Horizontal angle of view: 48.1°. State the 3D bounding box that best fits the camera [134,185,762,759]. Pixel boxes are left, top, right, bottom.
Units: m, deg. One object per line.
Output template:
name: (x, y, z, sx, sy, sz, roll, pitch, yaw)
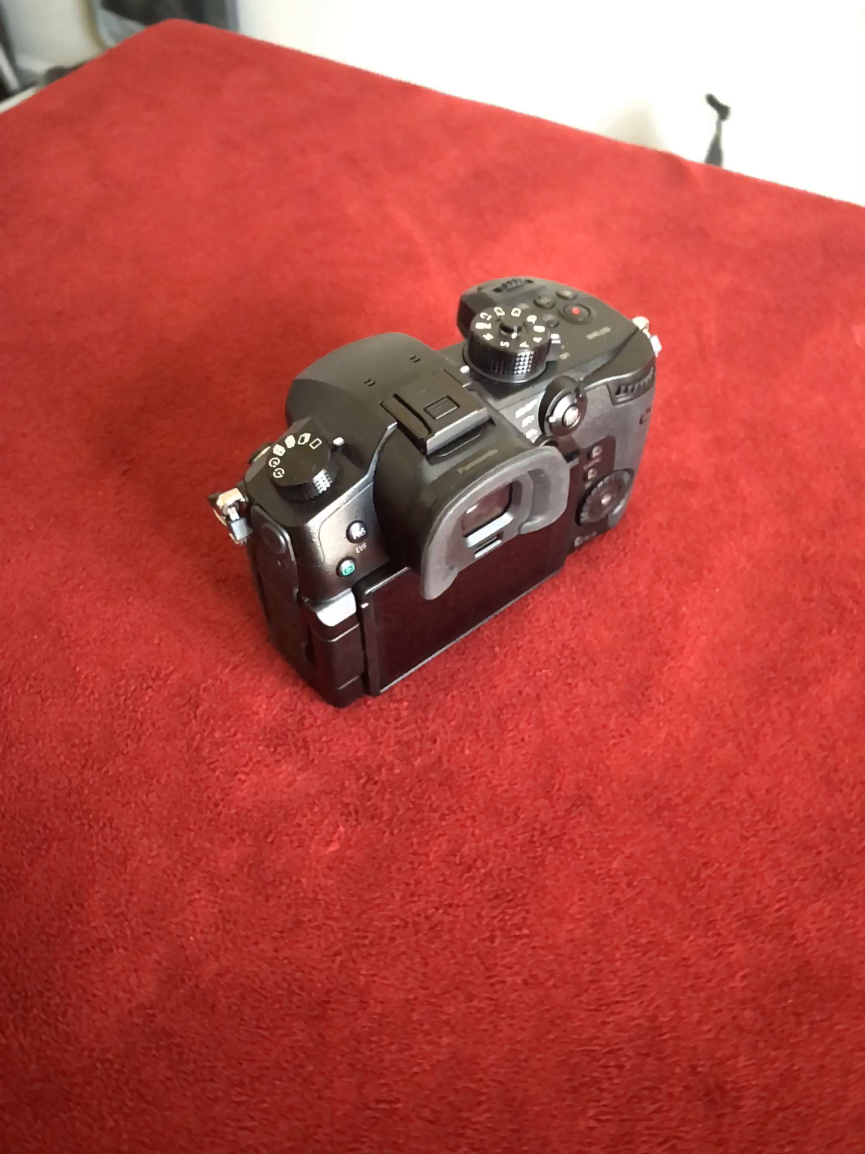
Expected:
camera: (0.007, -0.037, 0.294, 0.148, 0.087, 0.086, -31, 57, -22)
